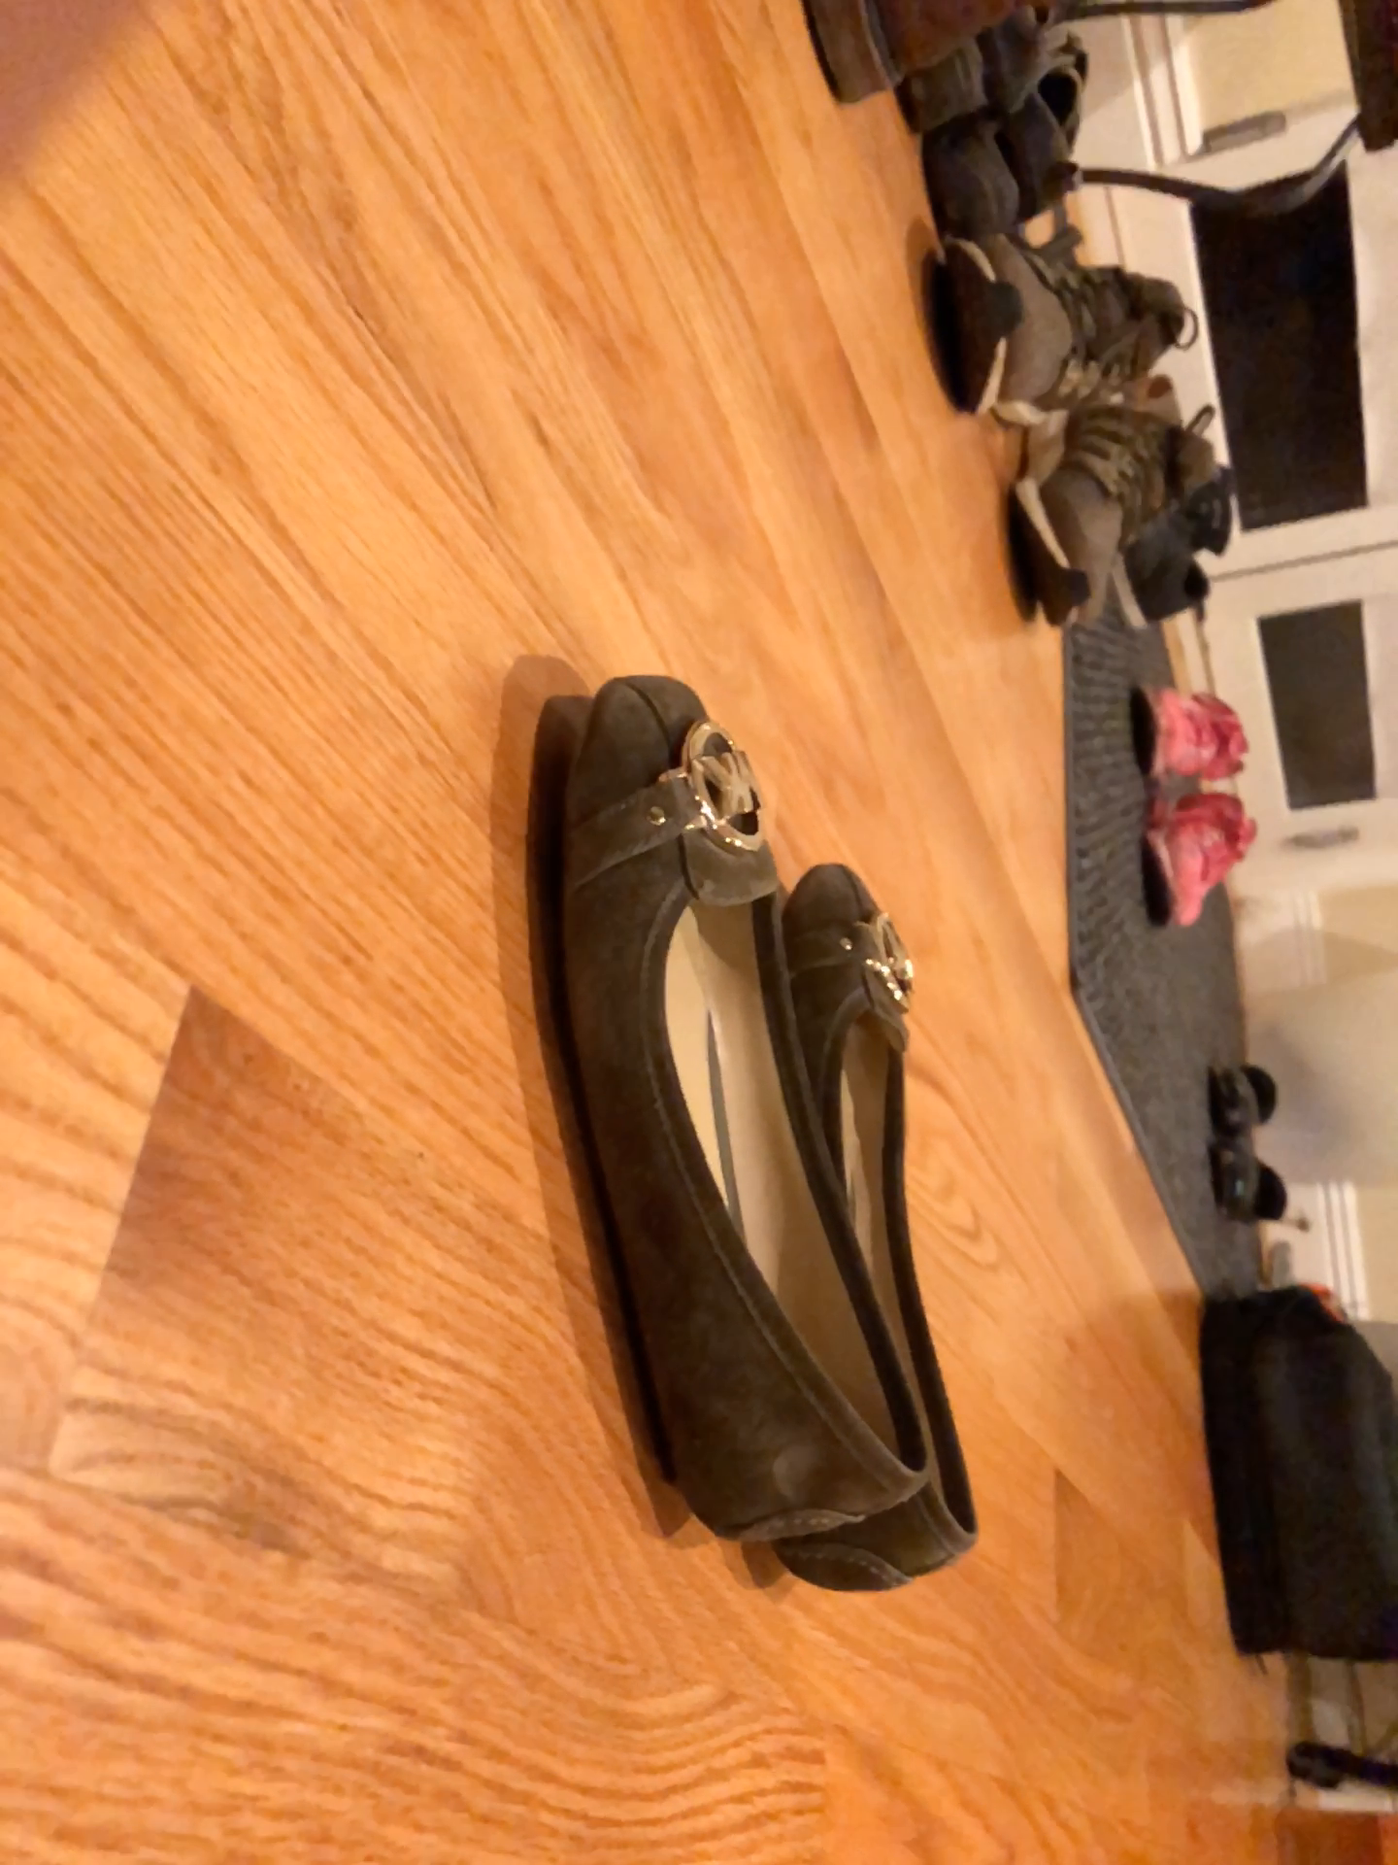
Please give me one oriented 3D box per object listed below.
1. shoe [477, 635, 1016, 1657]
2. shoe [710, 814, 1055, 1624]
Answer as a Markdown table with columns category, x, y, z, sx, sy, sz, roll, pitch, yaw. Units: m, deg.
| category | x | y | z | sx | sy | sz | roll | pitch | yaw |
| --- | --- | --- | --- | --- | --- | --- | --- | --- | --- |
| shoe | 0.019 | 0.051 | 0.412 | 0.091 | 0.079 | 0.242 | -21 | 102 | -67 |
| shoe | 0.062 | 0.093 | 0.509 | 0.091 | 0.079 | 0.240 | 42 | 45 | -58 |
